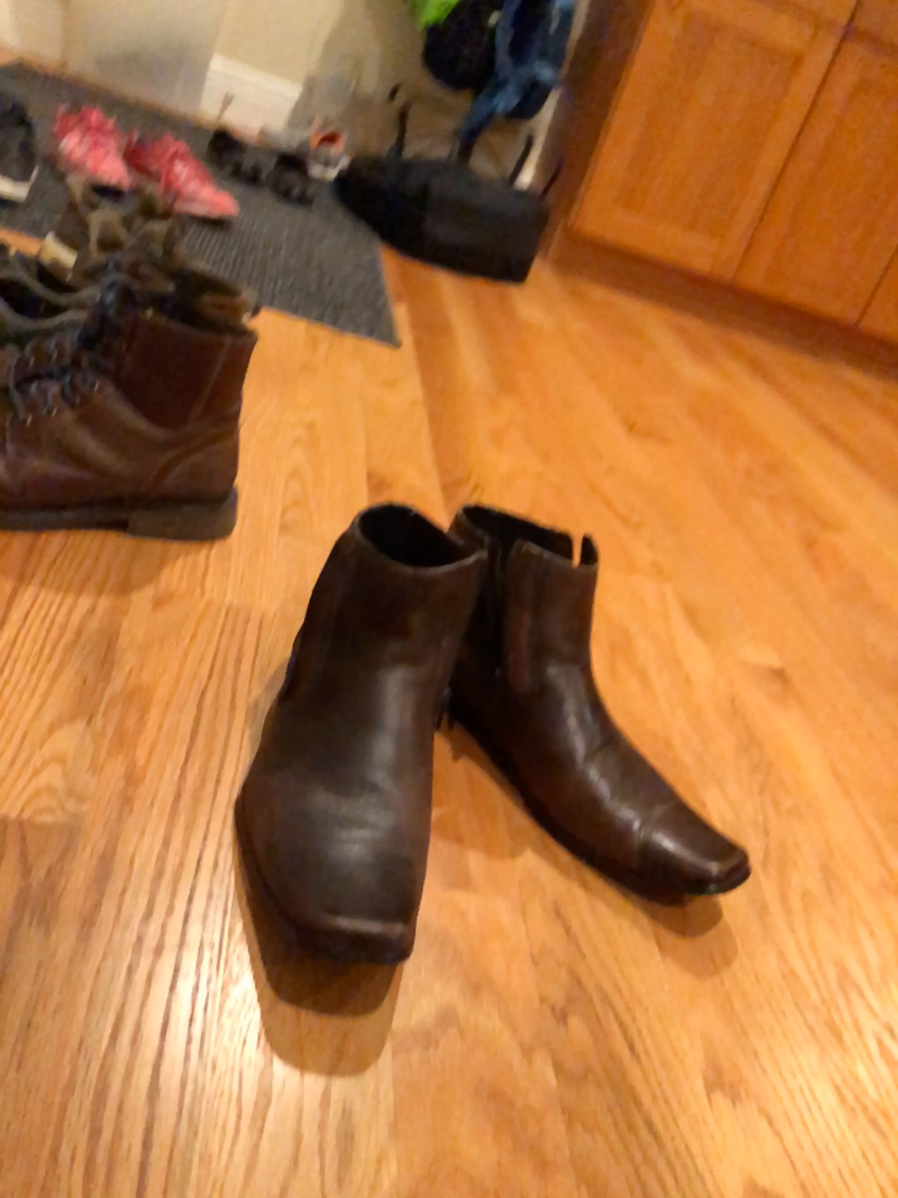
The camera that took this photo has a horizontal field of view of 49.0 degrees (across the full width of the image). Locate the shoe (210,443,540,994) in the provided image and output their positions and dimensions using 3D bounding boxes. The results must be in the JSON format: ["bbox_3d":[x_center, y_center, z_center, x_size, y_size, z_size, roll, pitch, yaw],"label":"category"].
[{"bbox_3d":[-0.048,0.045,0.558,0.109,0.142,0.292,14,28,-13],"label":"shoe"}]

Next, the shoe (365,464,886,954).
[{"bbox_3d":[0.096,0.051,0.652,0.109,0.152,0.301,-10,40,-44],"label":"shoe"}]
